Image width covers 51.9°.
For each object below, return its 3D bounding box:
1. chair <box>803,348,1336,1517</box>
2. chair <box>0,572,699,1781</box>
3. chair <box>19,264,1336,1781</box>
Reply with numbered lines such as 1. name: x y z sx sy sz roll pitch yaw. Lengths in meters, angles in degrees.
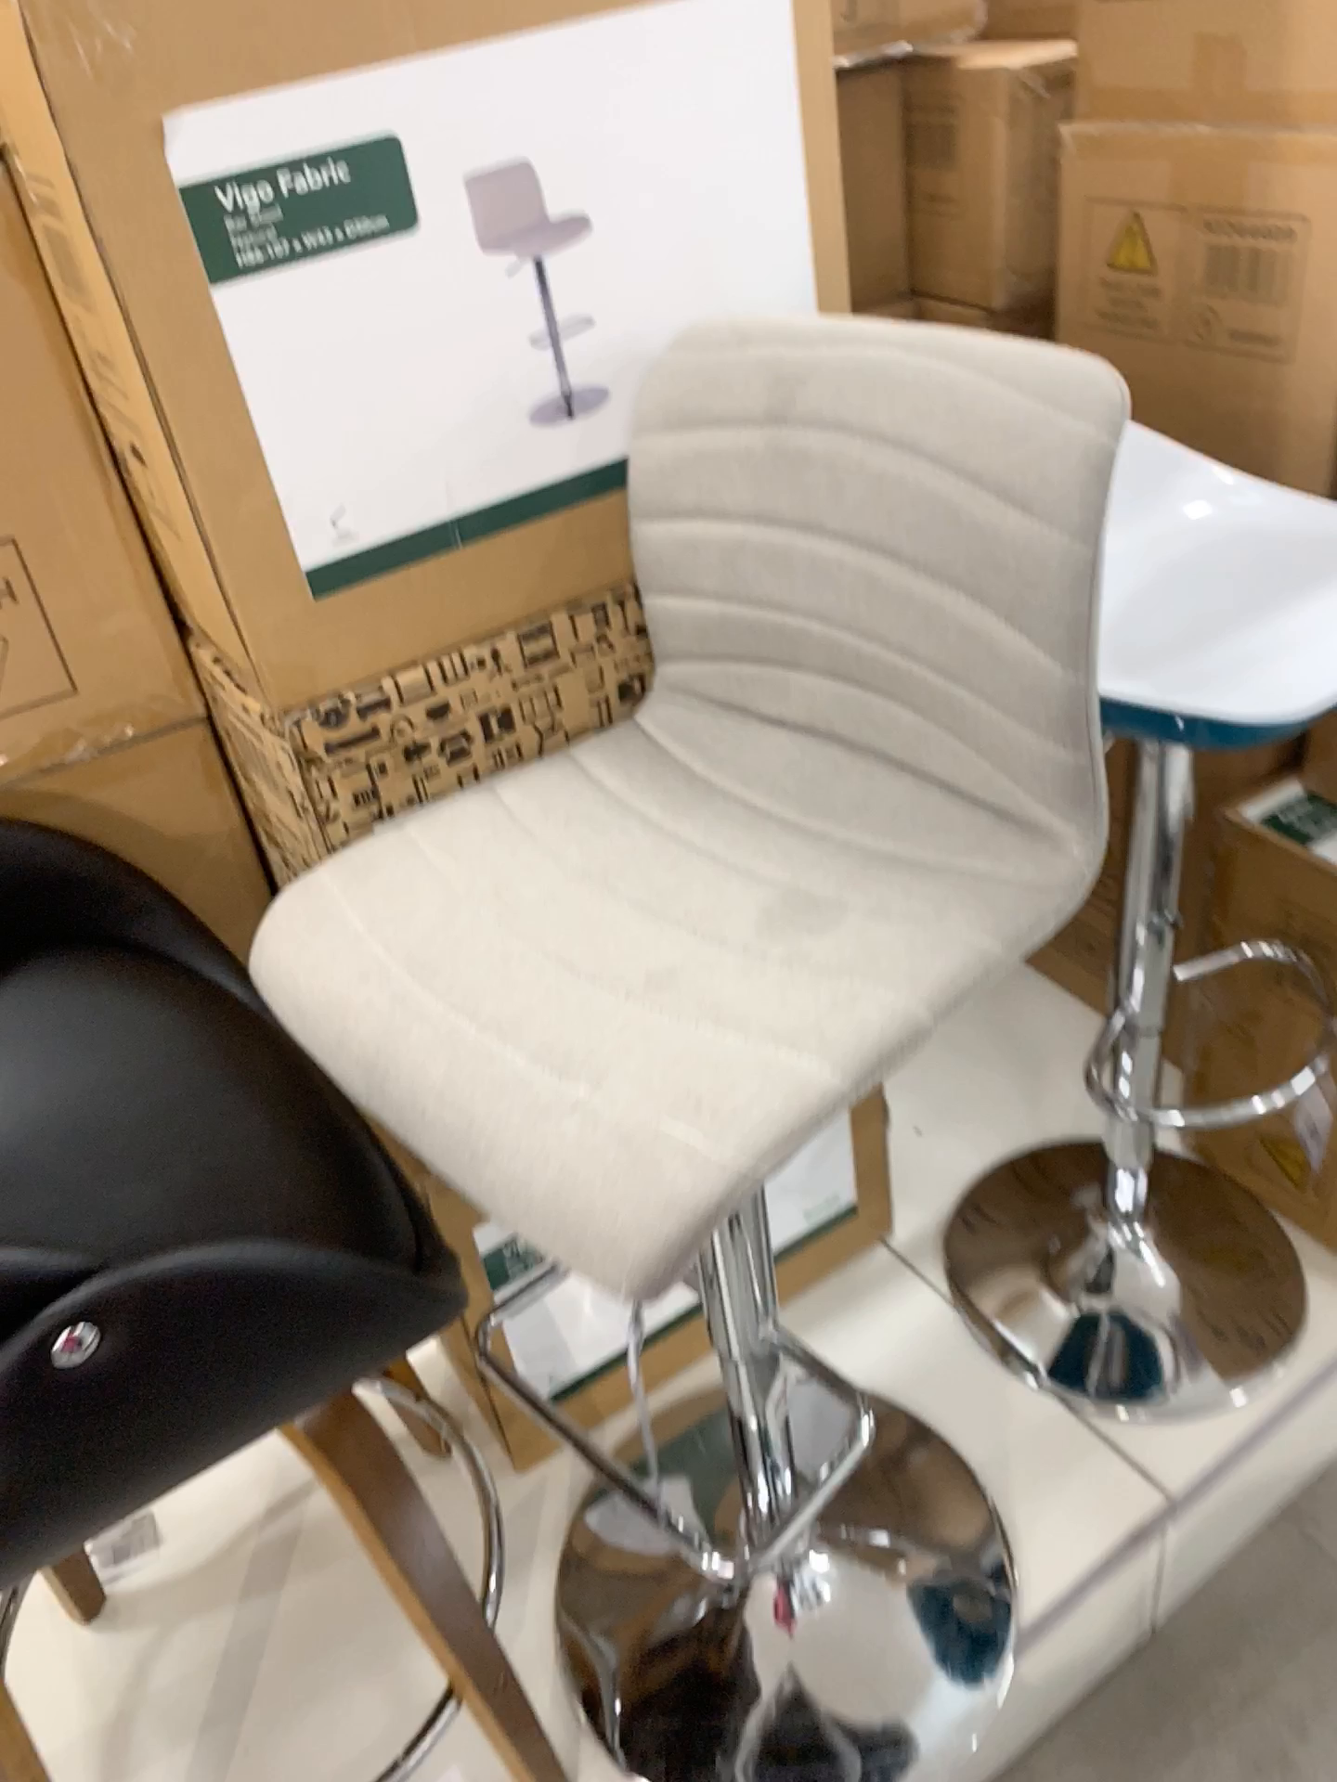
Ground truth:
1. chair: 0.423 0.037 1.178 0.405 0.826 0.390 -29 39 -27
2. chair: -0.374 0.328 0.974 0.489 0.865 0.538 -25 38 -23
3. chair: 0.061 0.170 0.949 0.509 0.984 0.467 -29 39 -27
